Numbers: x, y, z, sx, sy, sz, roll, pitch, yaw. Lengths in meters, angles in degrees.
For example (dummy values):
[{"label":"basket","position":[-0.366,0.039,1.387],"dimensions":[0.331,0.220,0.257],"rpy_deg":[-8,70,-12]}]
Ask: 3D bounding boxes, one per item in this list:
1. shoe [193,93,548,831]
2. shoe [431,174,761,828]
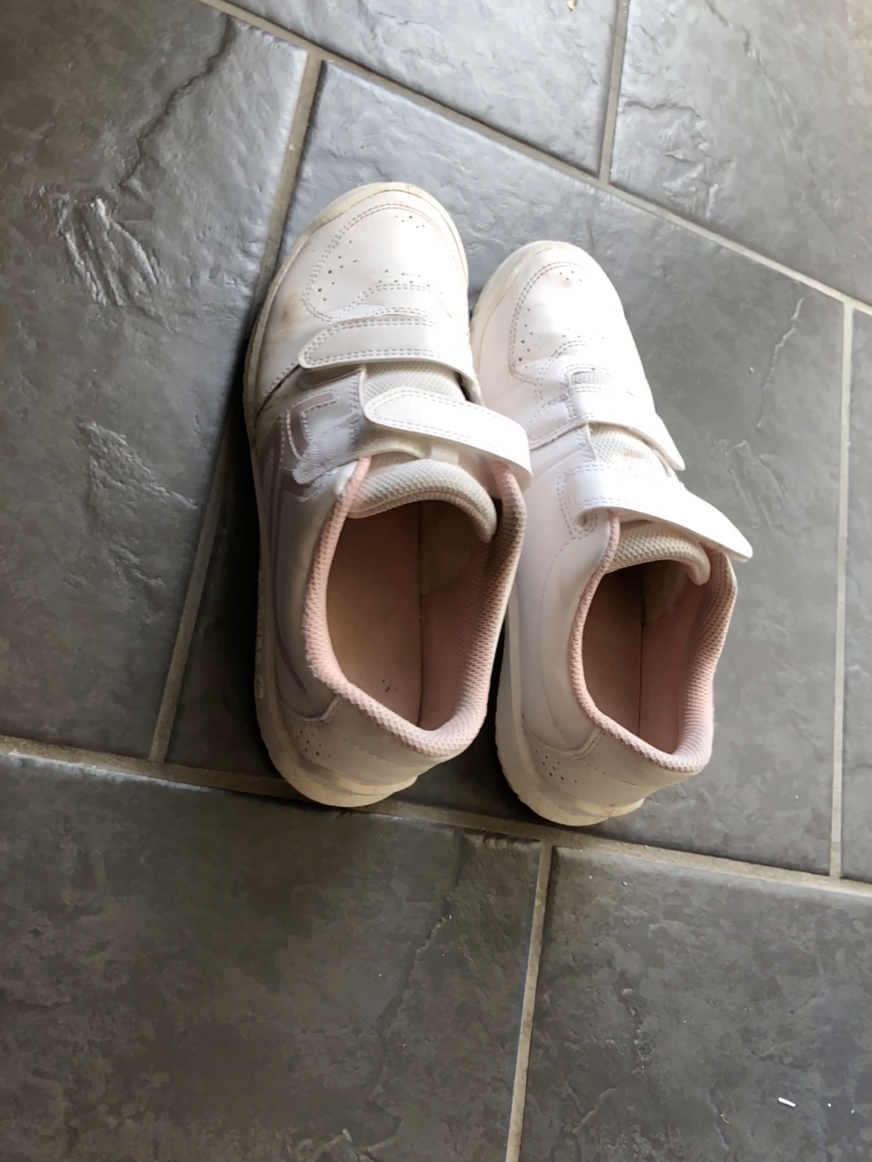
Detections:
[{"label":"shoe","position":[-0.023,-0.036,0.370],"dimensions":[0.095,0.090,0.250],"rpy_deg":[9,74,-23]},{"label":"shoe","position":[0.060,-0.025,0.413],"dimensions":[0.095,0.090,0.250],"rpy_deg":[6,76,-24]}]
